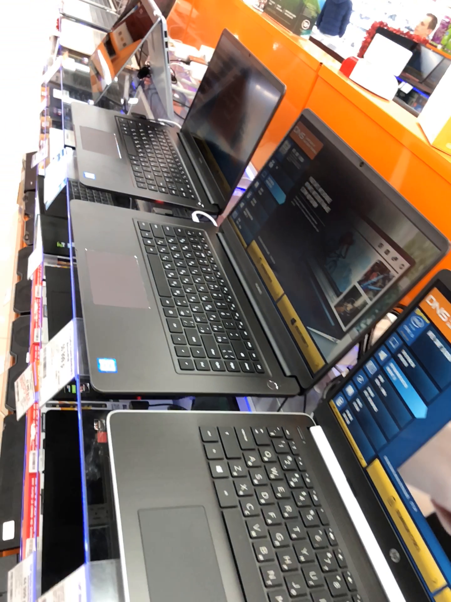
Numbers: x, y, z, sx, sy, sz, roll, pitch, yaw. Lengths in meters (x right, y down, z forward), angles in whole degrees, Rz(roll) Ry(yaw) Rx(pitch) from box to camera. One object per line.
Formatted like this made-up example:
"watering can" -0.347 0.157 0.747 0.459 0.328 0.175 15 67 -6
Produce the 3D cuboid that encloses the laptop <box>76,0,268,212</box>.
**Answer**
"laptop" -0.118 -0.364 0.877 0.242 0.230 0.357 7 37 -27

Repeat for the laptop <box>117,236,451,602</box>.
"laptop" 0.081 0.123 0.331 0.243 0.195 0.270 8 33 -22

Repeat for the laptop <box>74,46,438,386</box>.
"laptop" -0.006 -0.101 0.593 0.288 0.212 0.339 6 38 -26
